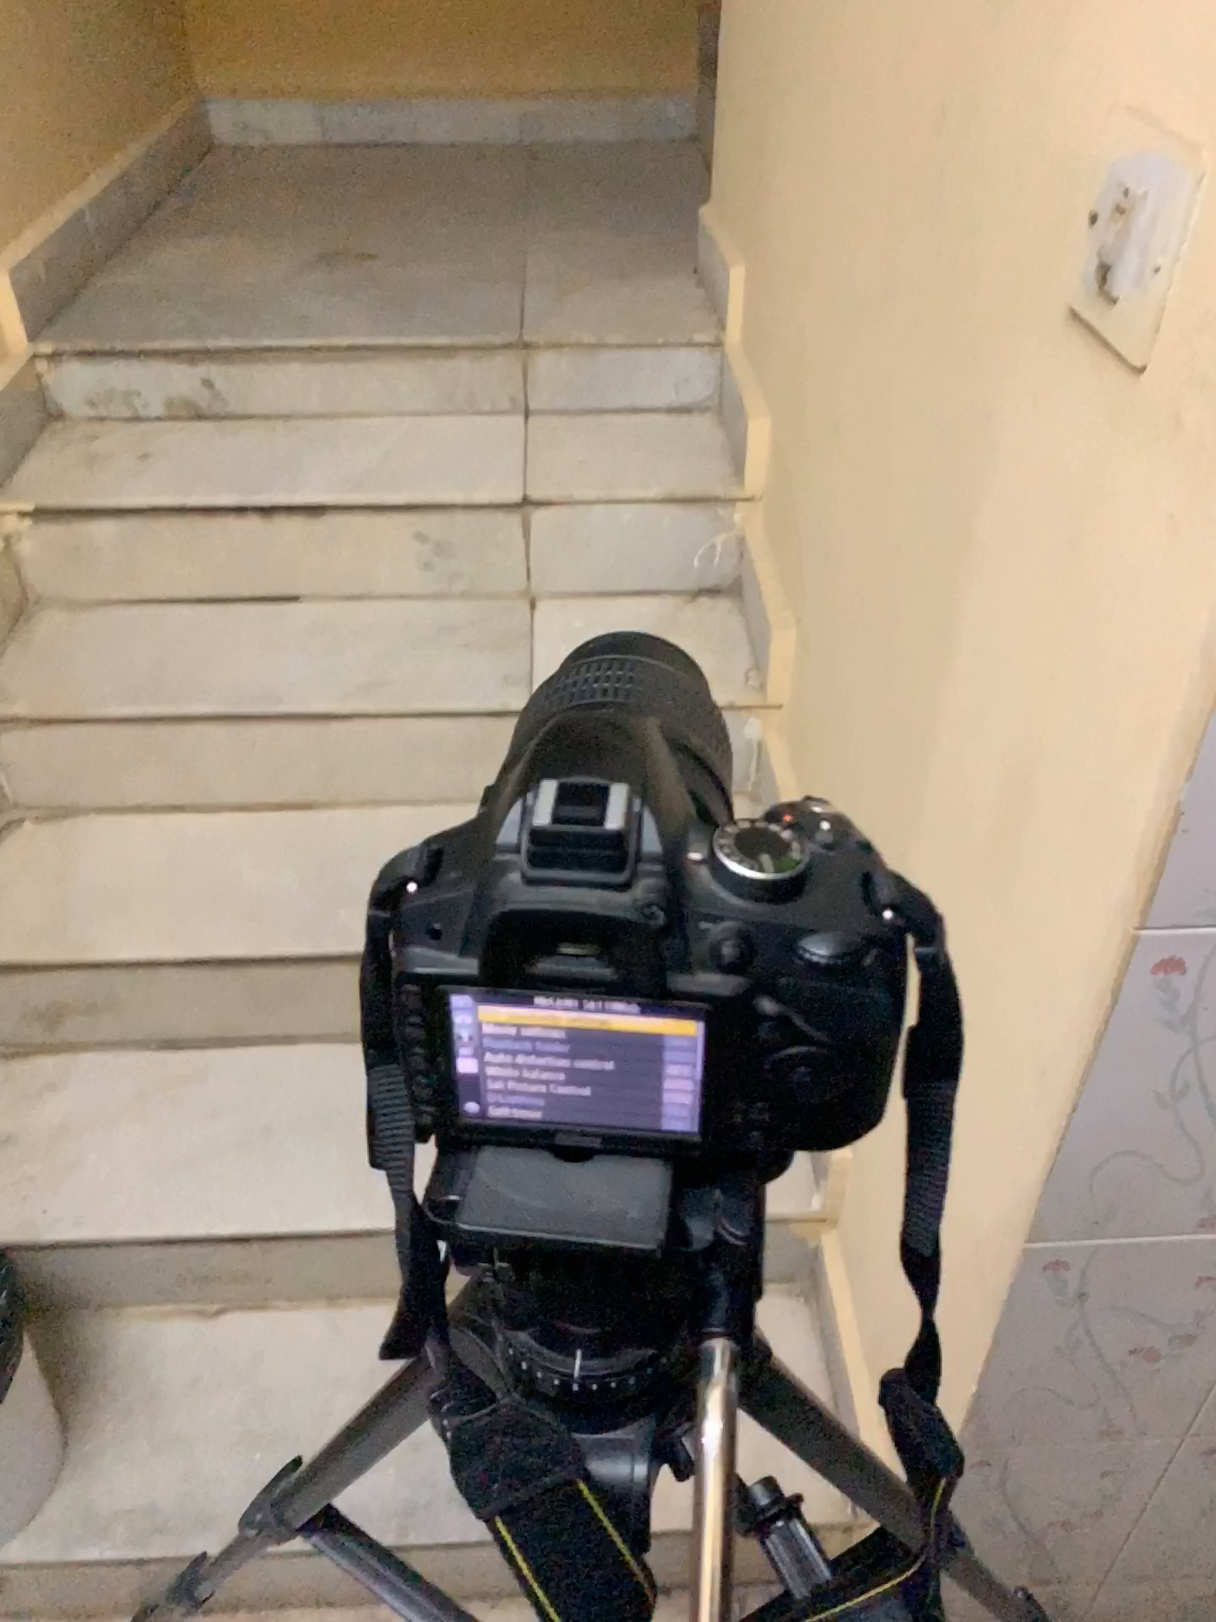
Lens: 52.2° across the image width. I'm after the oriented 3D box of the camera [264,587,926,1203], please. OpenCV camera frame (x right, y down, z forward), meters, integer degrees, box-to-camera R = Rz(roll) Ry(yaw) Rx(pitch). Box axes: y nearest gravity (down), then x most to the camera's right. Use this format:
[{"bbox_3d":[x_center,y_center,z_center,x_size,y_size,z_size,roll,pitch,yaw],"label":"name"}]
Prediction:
[{"bbox_3d":[0.002,0.015,0.328,0.134,0.090,0.131,4,37,4],"label":"camera"}]
